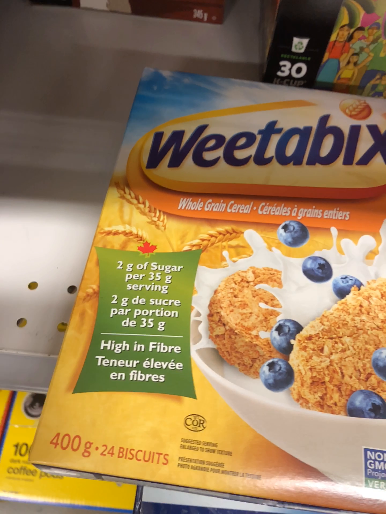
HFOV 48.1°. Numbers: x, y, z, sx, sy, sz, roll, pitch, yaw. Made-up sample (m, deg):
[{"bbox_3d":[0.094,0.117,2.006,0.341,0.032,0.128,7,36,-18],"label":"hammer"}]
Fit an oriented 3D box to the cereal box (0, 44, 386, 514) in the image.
[{"bbox_3d":[0.033,-0.011,0.267,0.210,0.050,0.290,8,58,1],"label":"cereal box"}]
